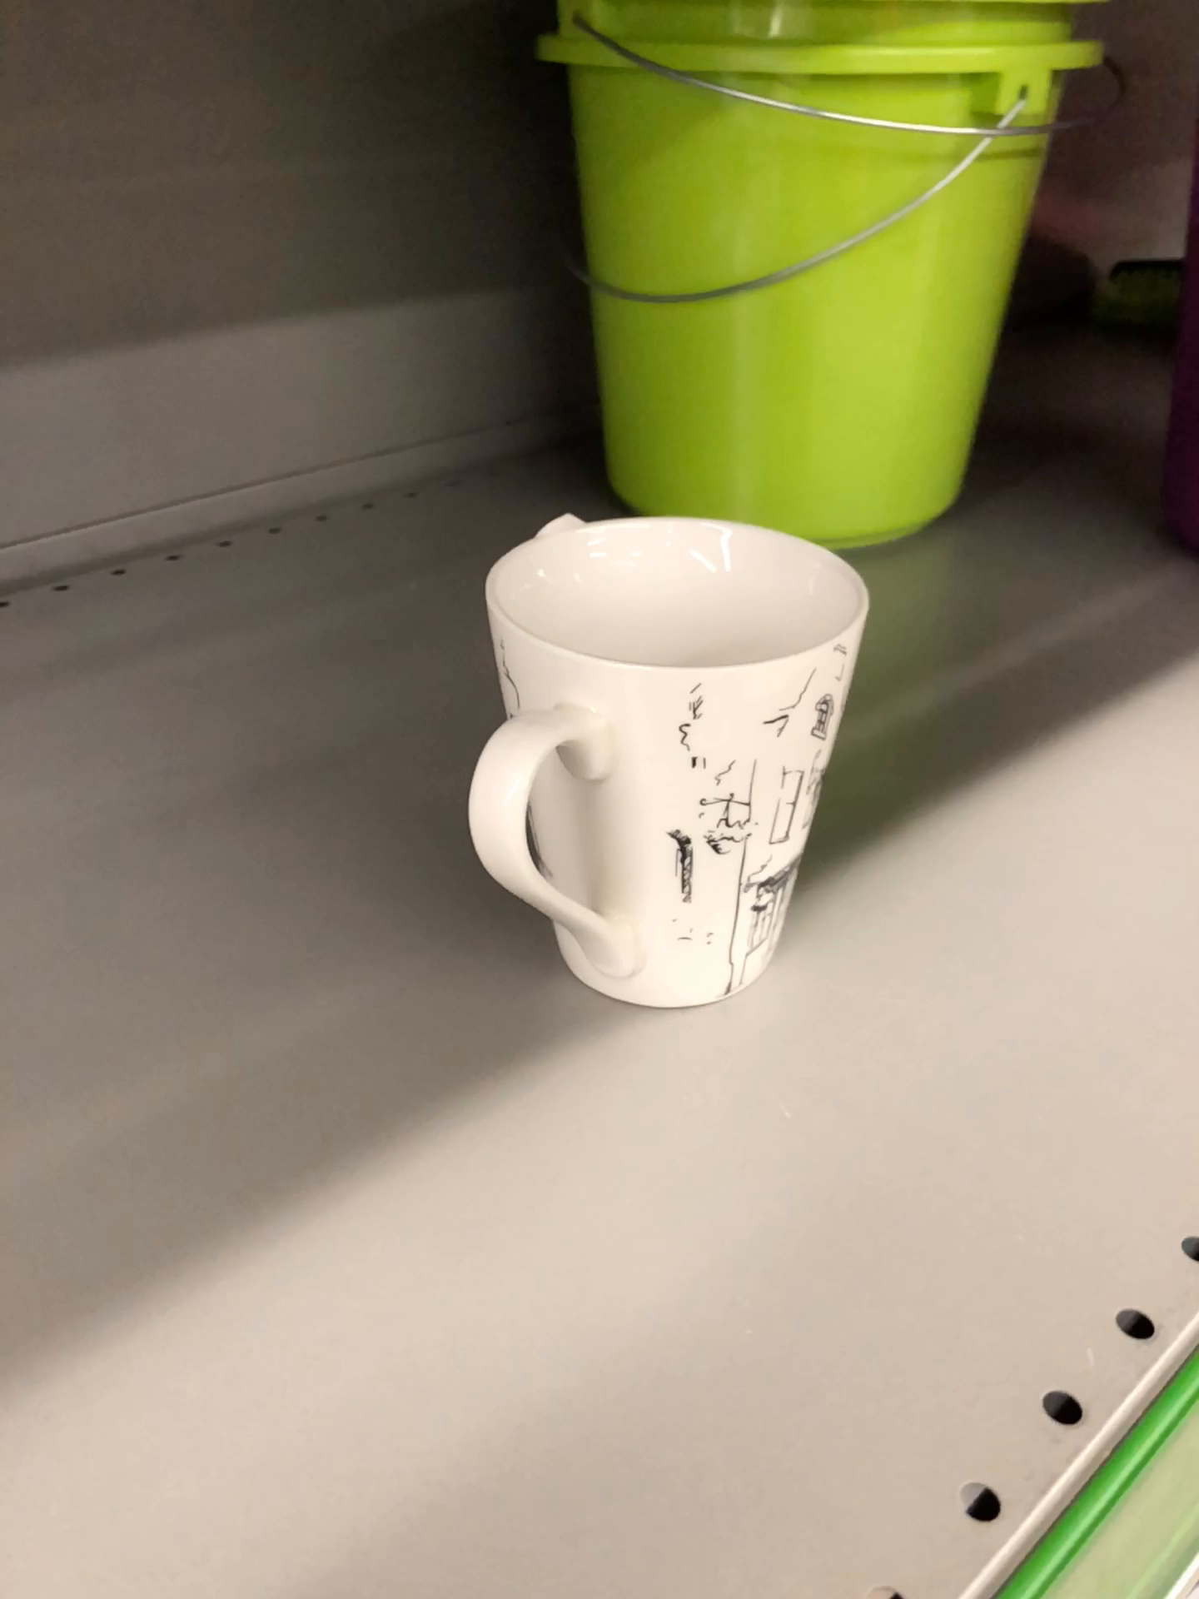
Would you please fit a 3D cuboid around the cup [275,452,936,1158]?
[{"bbox_3d":[0.006,-0.008,0.305,0.091,0.098,0.115,19,37,28],"label":"cup"}]
